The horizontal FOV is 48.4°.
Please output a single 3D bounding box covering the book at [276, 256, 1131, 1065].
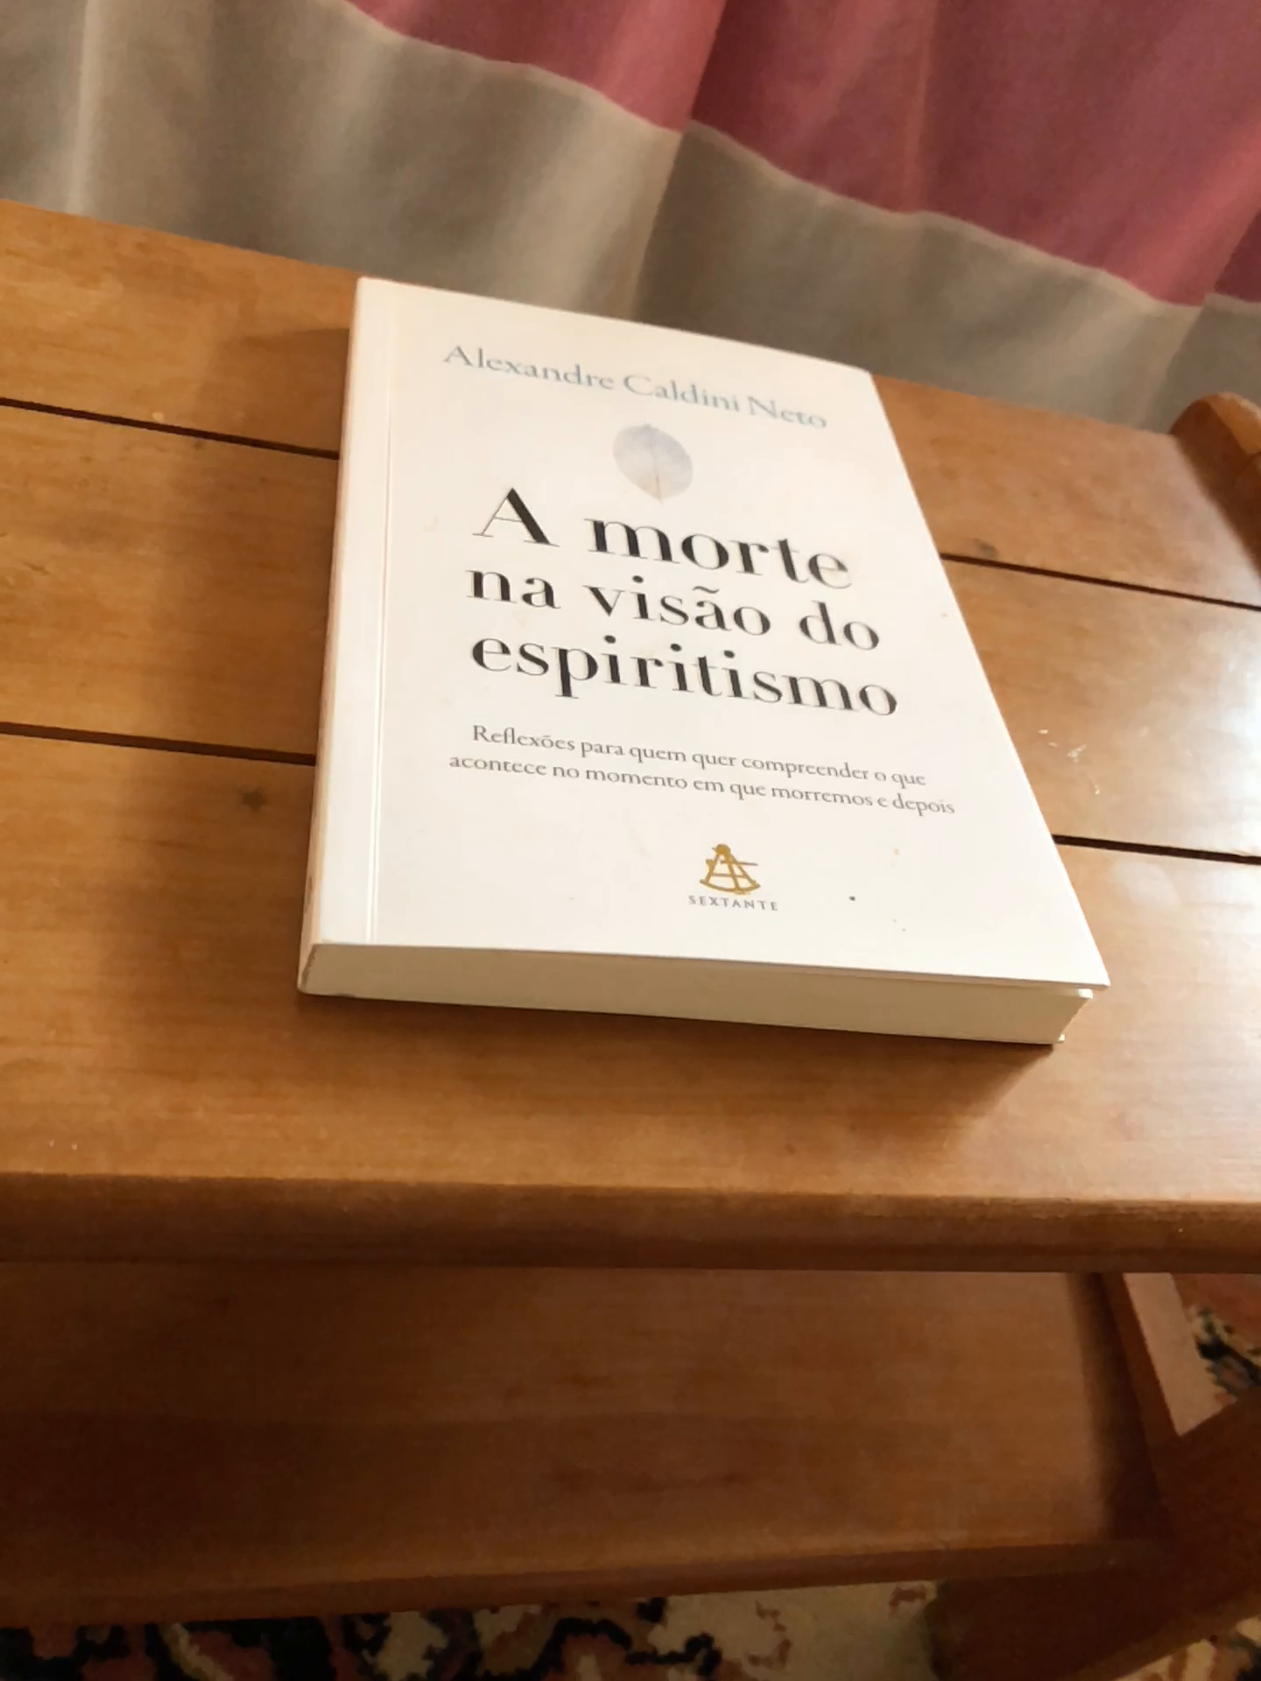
[{"bbox_3d":[0.006,-0.048,0.285,0.135,0.020,0.197,6,48,-14],"label":"book"}]
